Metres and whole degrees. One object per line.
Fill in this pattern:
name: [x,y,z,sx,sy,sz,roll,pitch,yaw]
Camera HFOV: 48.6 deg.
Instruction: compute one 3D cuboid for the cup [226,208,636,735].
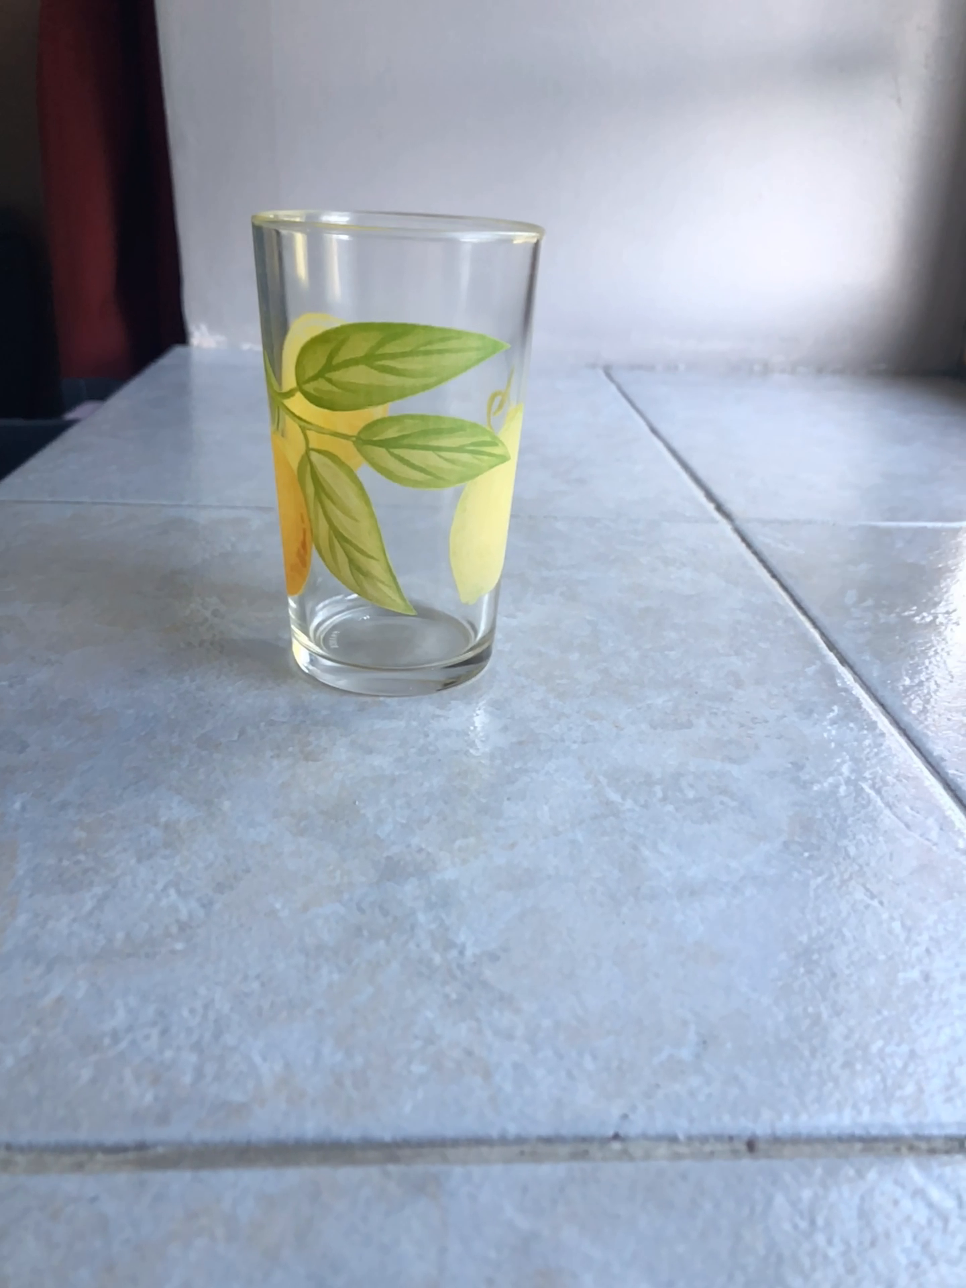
cup: [-0.014,-0.050,0.276,0.070,0.112,0.070,1,24,0]
